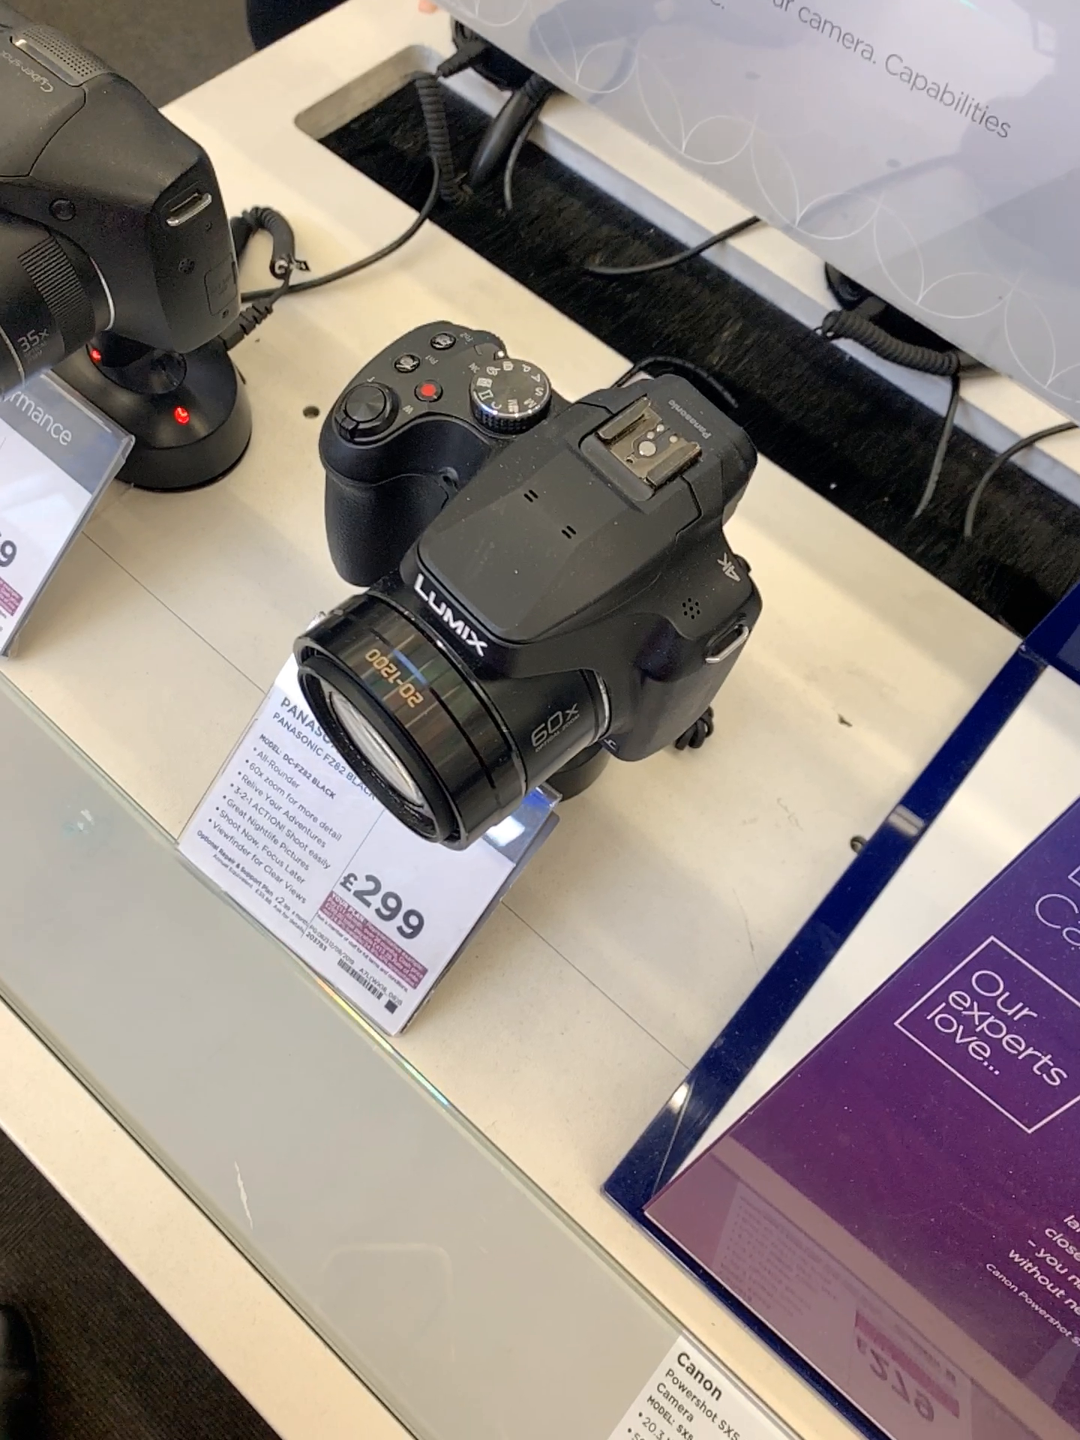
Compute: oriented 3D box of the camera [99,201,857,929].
[{"bbox_3d":[-0.016,-0.042,0.295,0.130,0.080,0.120,43,68,15],"label":"camera"}]
